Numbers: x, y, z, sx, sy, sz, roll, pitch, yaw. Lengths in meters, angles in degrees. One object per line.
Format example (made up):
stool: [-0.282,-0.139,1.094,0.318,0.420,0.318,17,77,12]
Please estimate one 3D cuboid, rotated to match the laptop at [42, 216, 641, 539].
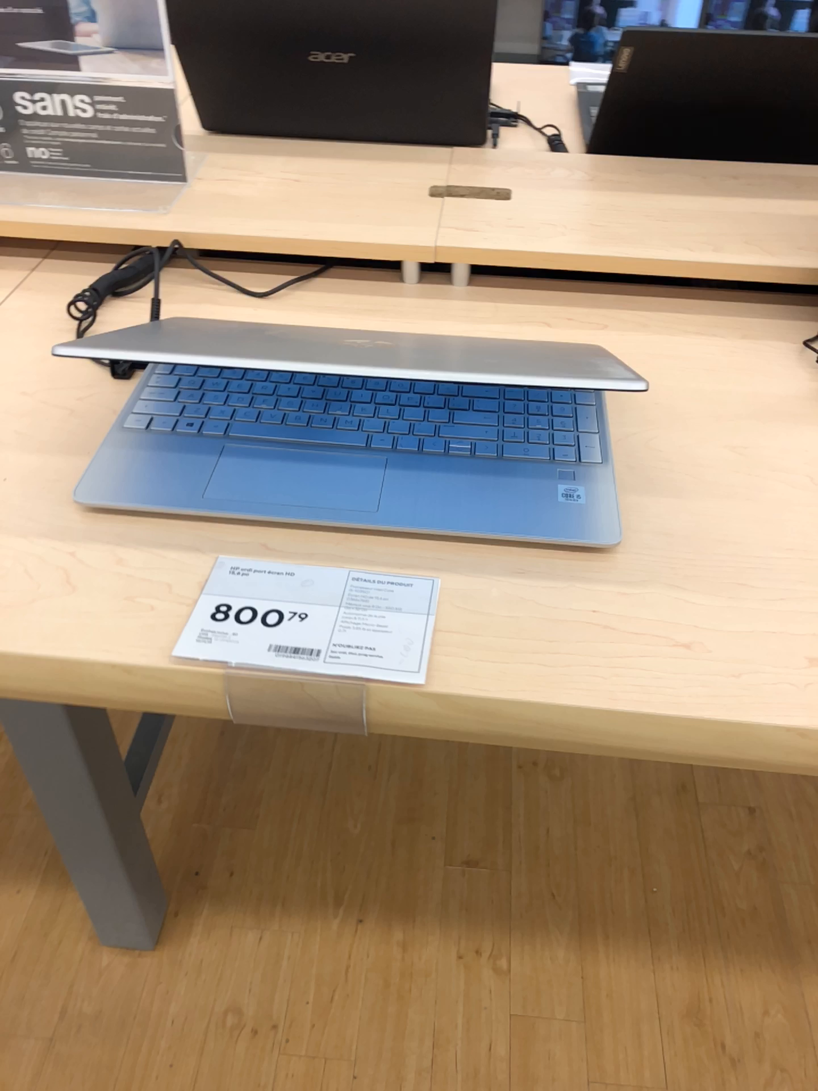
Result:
laptop: [-0.030,-0.126,0.616,0.340,0.086,0.225,5,44,3]
